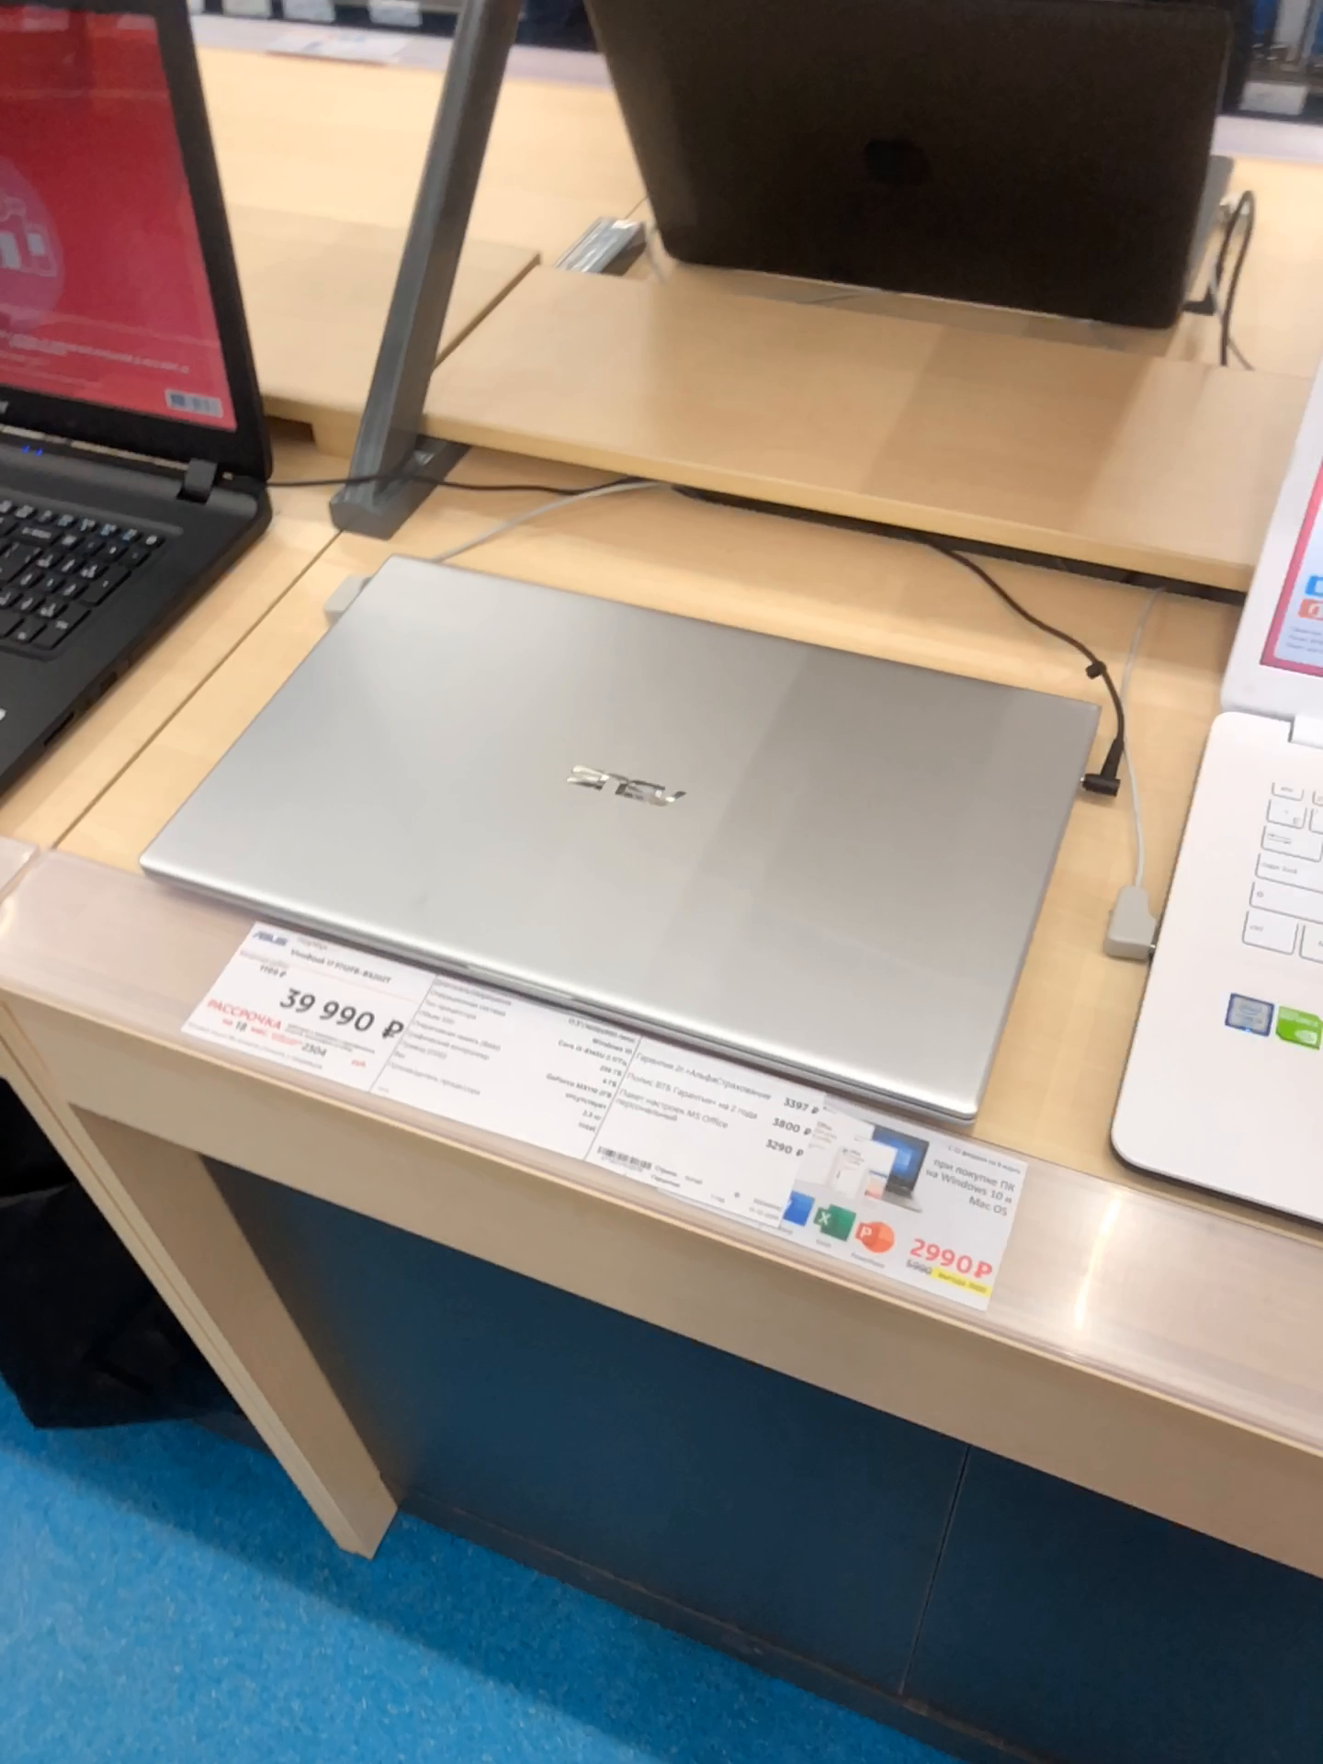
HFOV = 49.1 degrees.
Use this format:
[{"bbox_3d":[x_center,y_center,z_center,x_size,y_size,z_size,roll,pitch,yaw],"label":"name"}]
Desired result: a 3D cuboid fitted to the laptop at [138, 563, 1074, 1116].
[{"bbox_3d":[-0.023,-0.043,0.697,0.392,0.006,0.233,15,53,16],"label":"laptop"}]
